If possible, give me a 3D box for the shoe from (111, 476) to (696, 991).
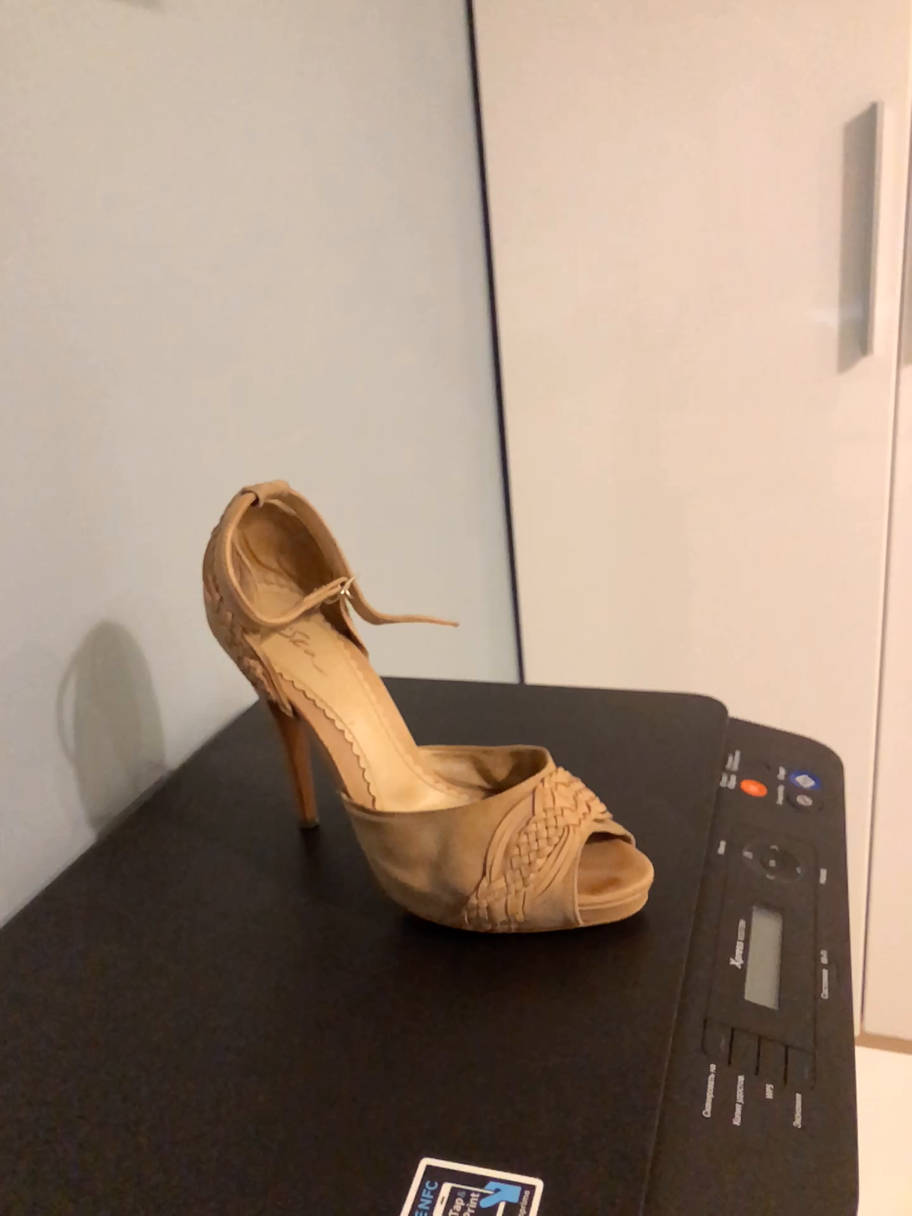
[{"bbox_3d":[-0.020,0.037,0.430,0.220,0.159,0.090,7,23,30],"label":"shoe"}]
